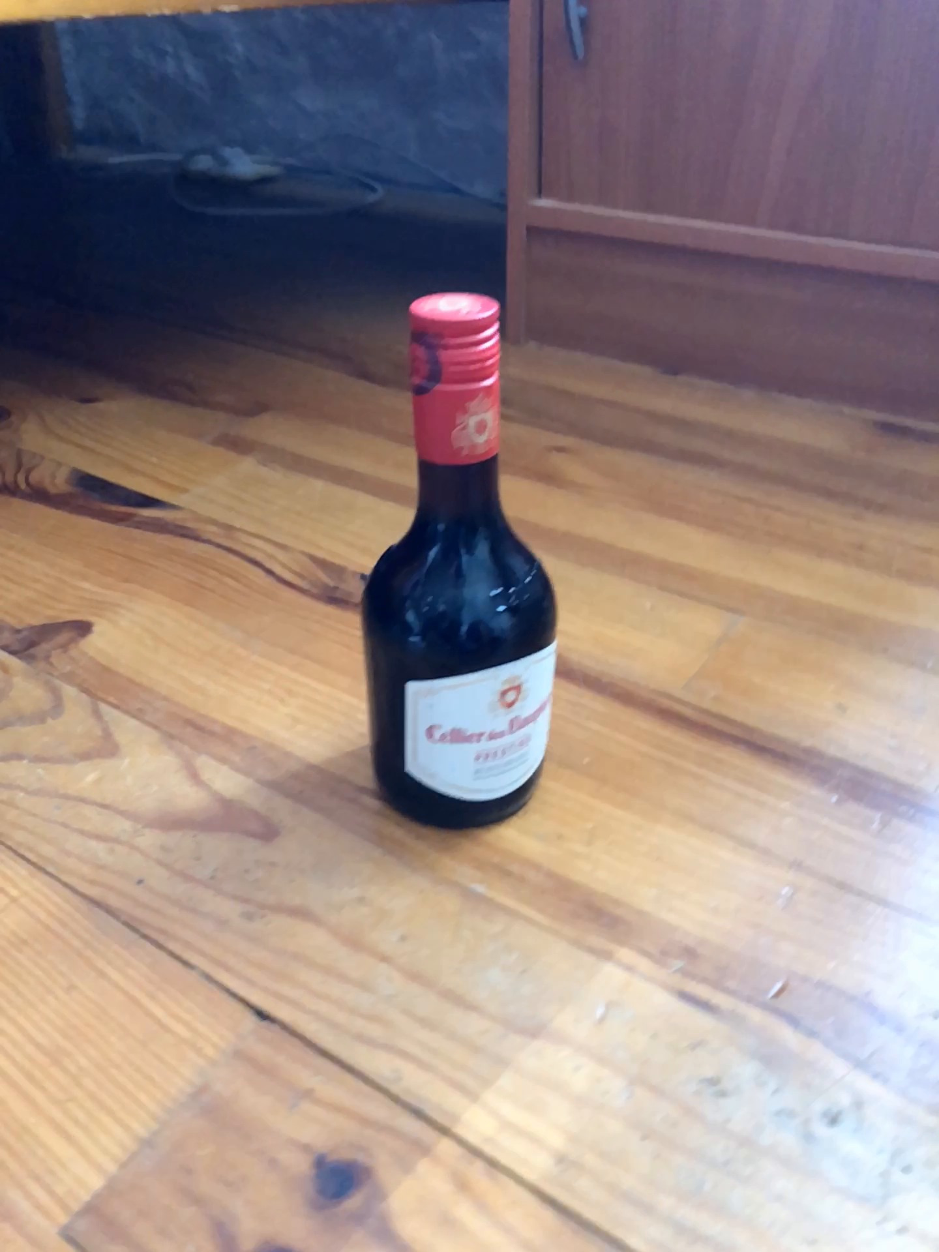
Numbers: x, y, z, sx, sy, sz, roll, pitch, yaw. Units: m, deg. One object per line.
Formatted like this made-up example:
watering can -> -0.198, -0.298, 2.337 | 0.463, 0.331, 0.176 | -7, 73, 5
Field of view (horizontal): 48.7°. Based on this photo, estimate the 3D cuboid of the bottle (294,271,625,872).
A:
bottle -> -0.005, -0.016, 0.329 | 0.070, 0.169, 0.060 | -17, 36, -27
